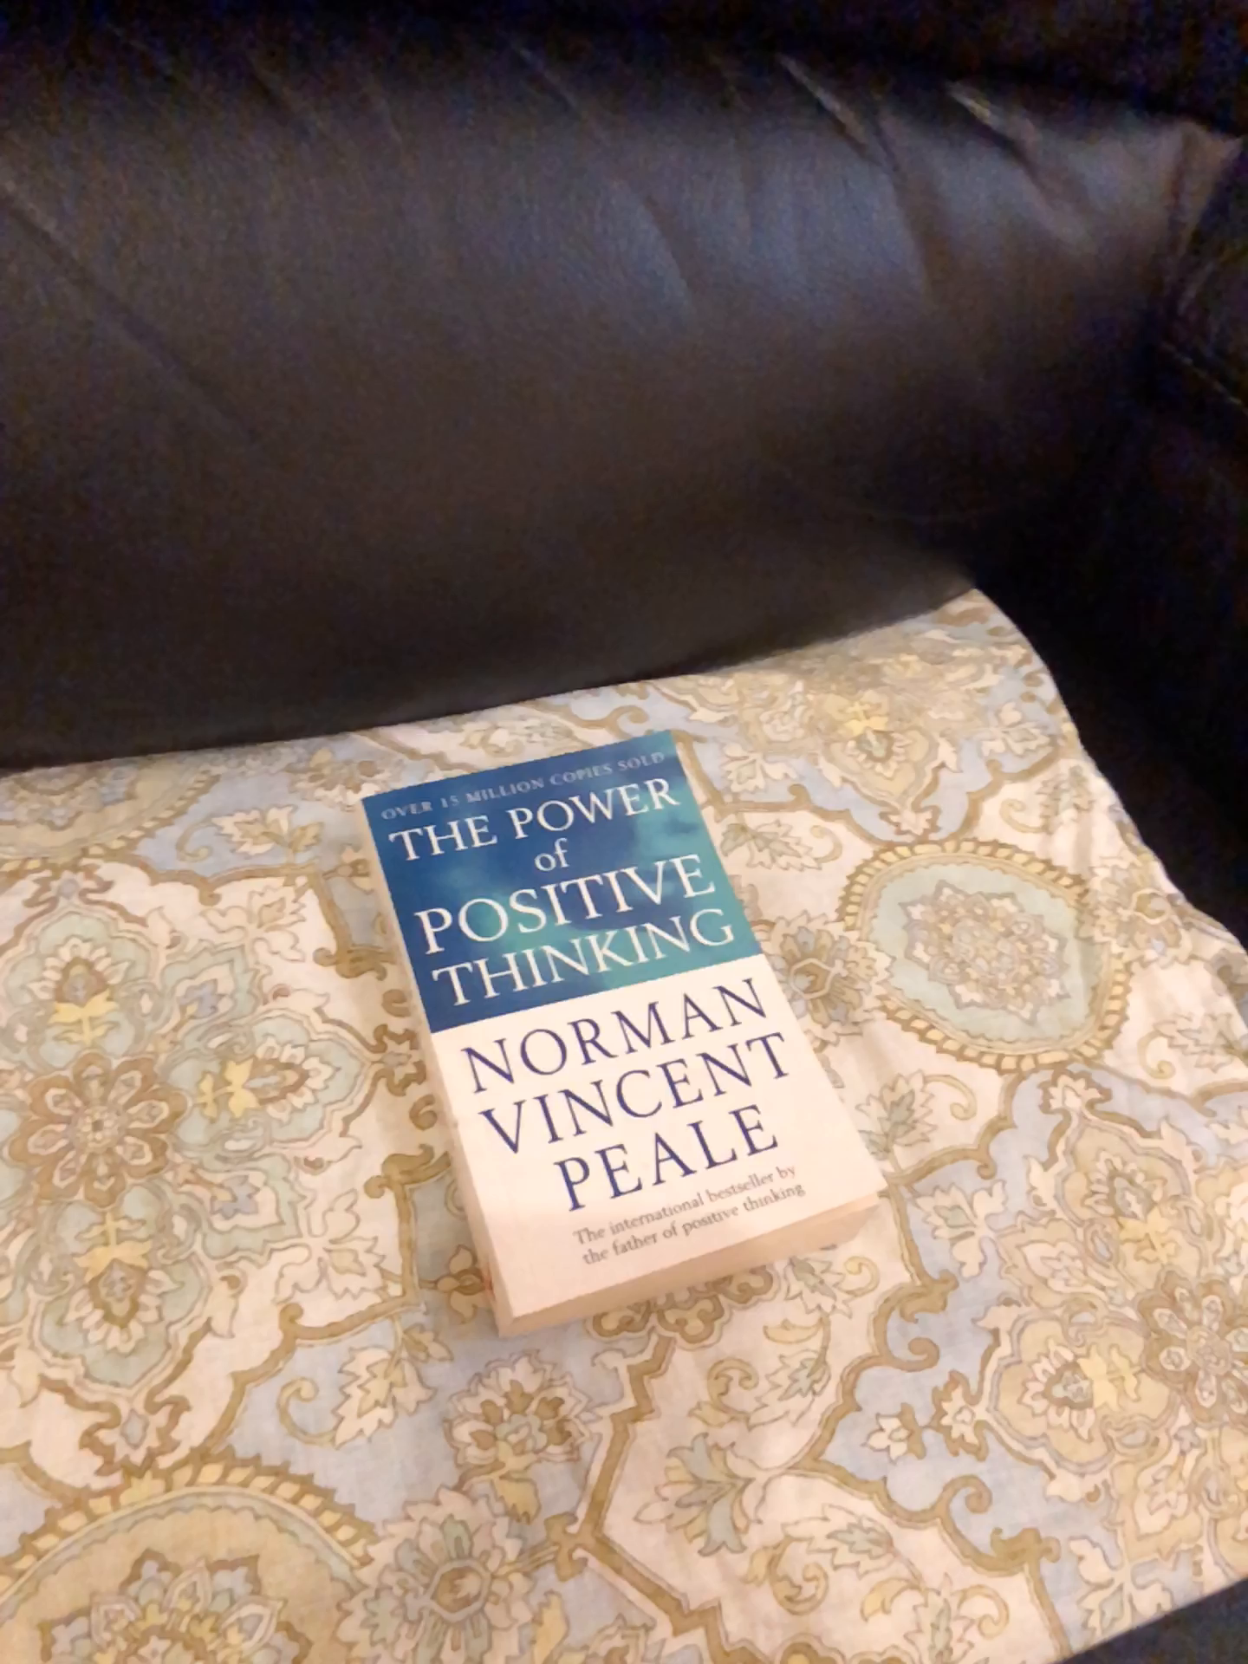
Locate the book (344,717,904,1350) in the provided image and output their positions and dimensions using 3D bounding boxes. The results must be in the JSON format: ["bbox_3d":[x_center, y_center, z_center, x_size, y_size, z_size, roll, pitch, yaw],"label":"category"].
[{"bbox_3d":[-0.008,0.053,0.441,0.120,0.030,0.183,-12,59,-19],"label":"book"}]
